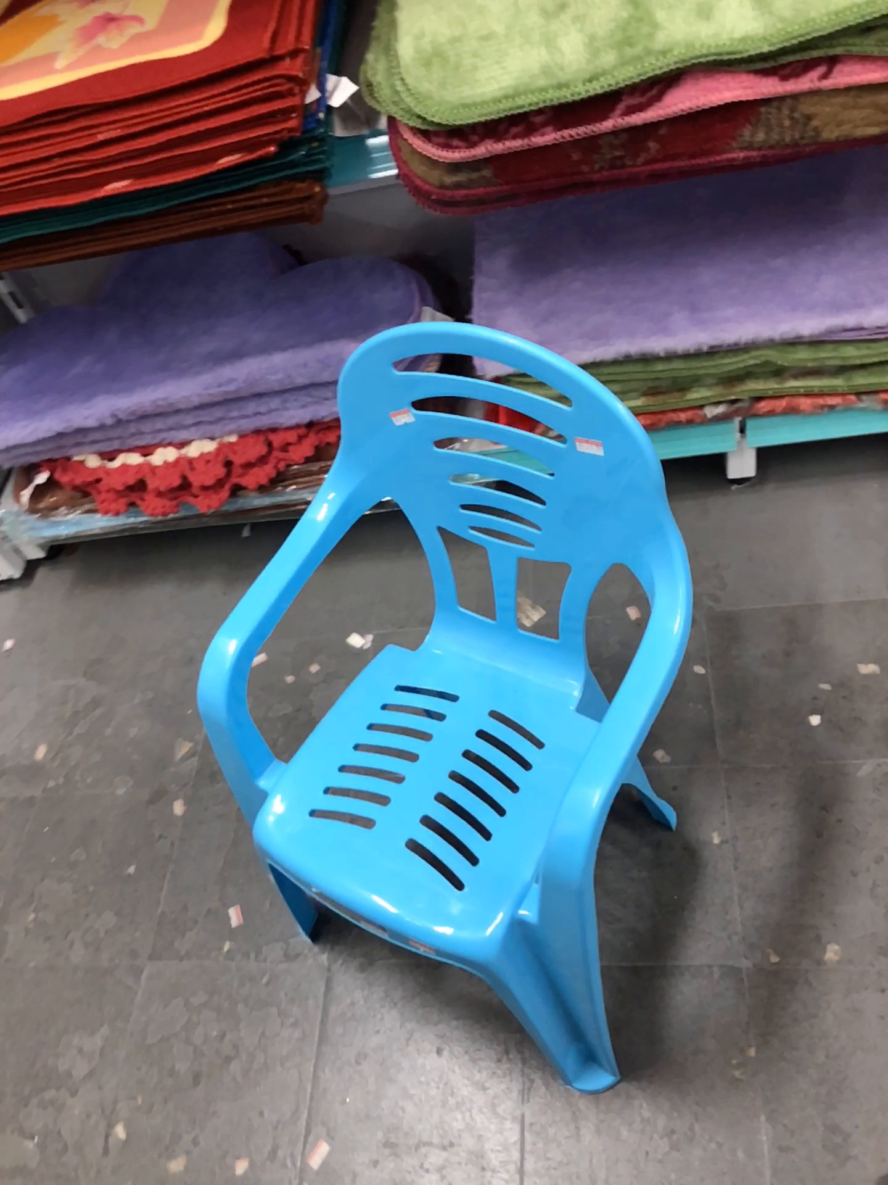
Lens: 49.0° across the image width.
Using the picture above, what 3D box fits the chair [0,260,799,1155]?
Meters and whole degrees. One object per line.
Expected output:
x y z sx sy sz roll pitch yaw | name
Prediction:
0.001 0.101 0.774 0.401 0.517 0.391 19 61 28 | chair
